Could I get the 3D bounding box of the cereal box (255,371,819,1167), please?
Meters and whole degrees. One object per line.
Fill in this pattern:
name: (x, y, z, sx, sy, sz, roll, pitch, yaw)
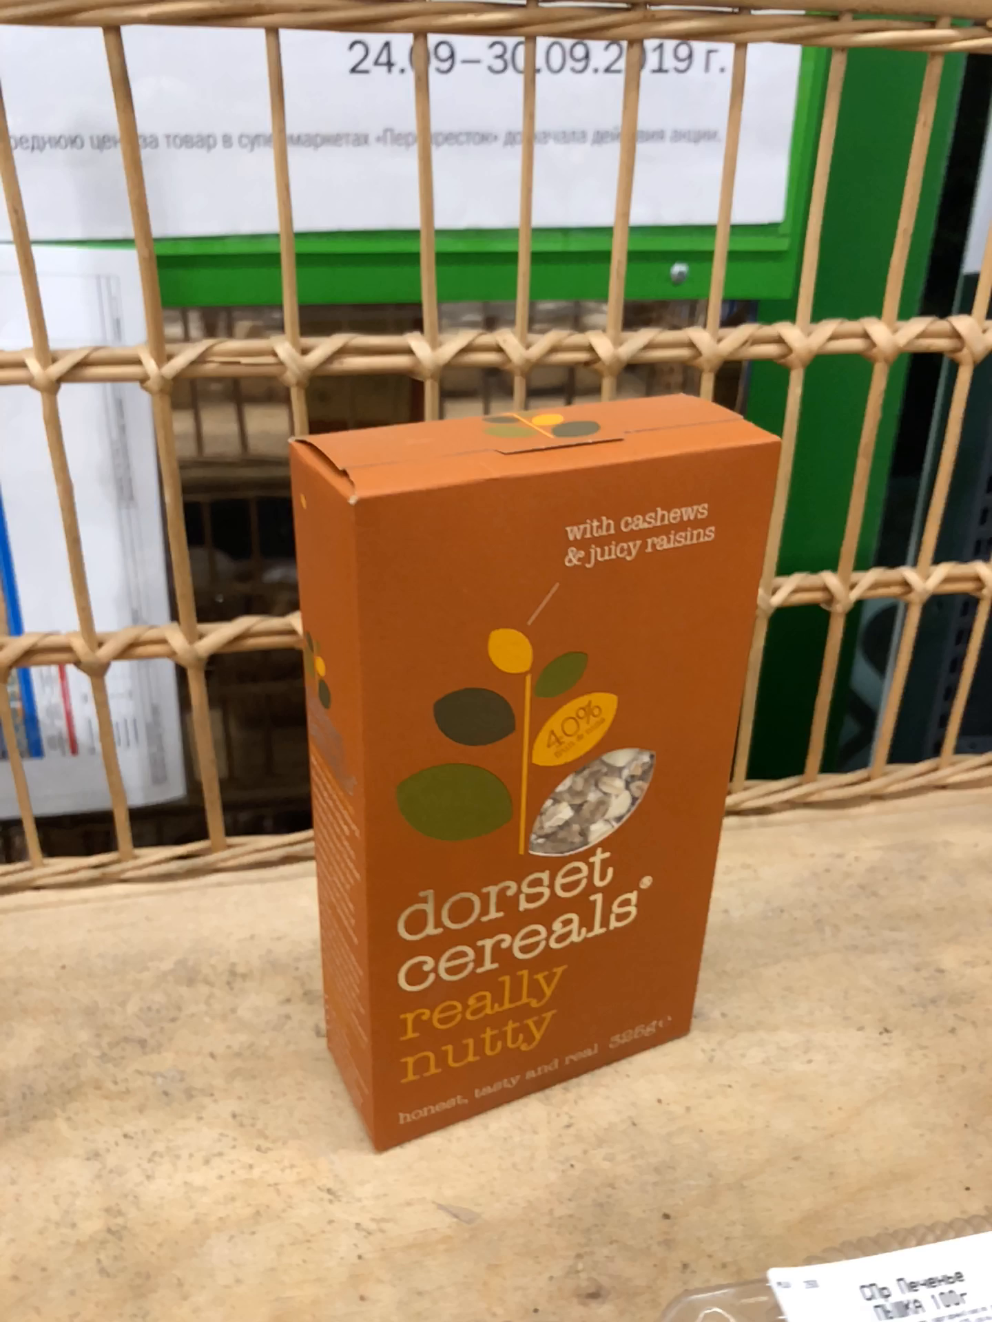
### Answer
cereal box: (0.009, 0.032, 0.320, 0.130, 0.209, 0.050, -12, 31, -24)
